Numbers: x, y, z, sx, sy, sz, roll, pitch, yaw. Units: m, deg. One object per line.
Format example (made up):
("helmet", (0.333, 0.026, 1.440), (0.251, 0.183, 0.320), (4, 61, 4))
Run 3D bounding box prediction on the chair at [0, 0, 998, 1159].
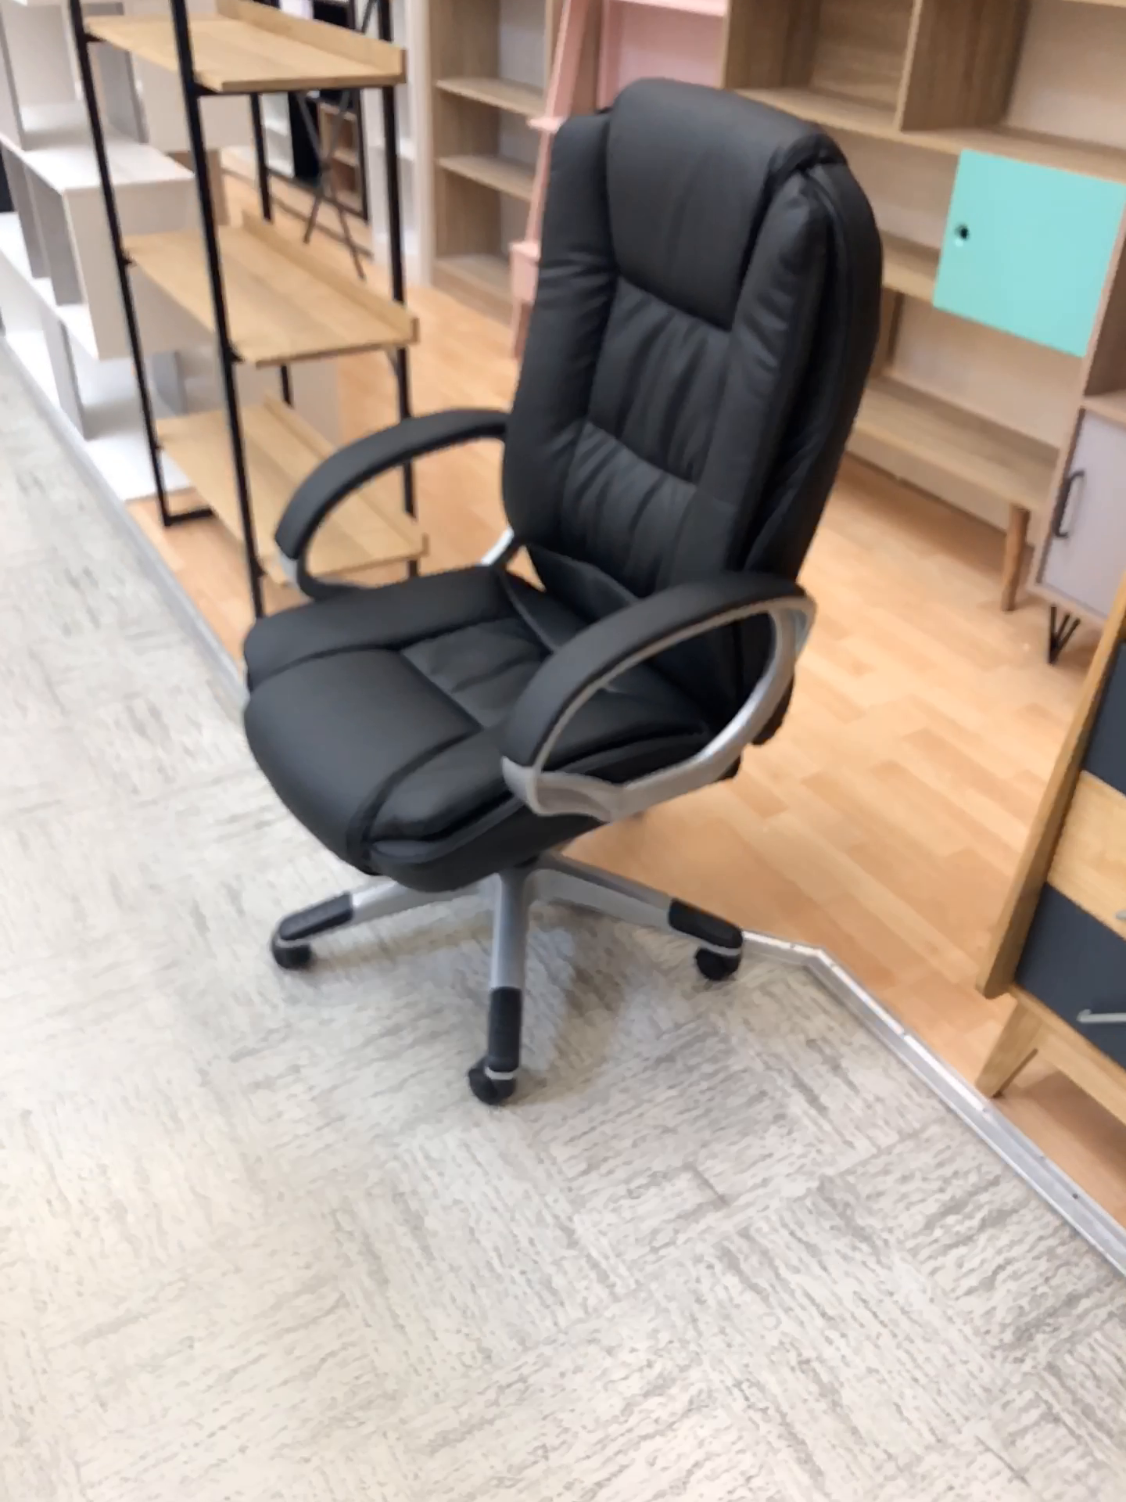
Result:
("chair", (-0.115, -0.277, 1.510), (0.683, 1.063, 0.761), (-21, 40, -32))
